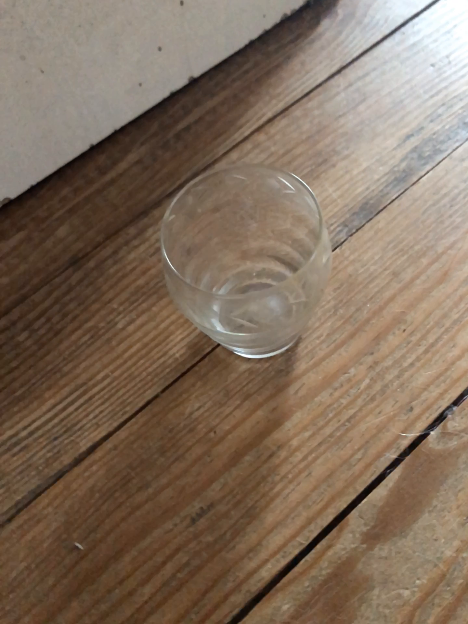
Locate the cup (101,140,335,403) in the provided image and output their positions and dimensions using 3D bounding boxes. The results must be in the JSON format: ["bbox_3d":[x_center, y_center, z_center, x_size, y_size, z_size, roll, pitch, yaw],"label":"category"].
[{"bbox_3d":[0.001,-0.010,0.162,0.050,0.060,0.050,-3,62,6],"label":"cup"}]
